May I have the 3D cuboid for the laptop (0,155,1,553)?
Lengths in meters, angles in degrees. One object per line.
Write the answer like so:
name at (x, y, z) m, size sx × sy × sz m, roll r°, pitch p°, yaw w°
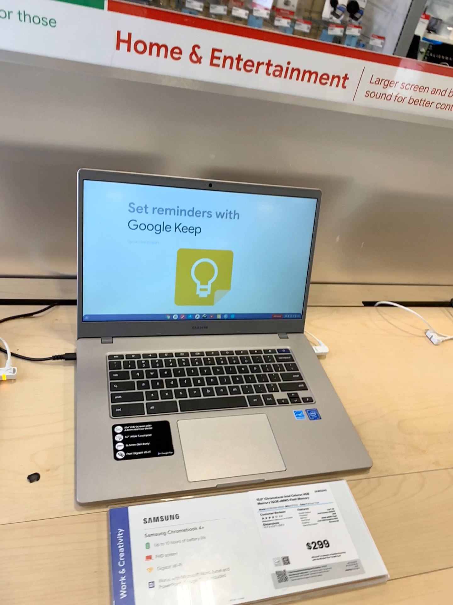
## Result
laptop at (-0.399, 0.022, 0.440) m, size 0.300 × 0.191 × 0.288 m, roll -1°, pitch 38°, yaw -18°

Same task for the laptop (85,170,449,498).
laptop at (0.001, 0.014, 0.585) m, size 0.340 × 0.200 × 0.326 m, roll 0°, pitch 39°, yaw -17°
